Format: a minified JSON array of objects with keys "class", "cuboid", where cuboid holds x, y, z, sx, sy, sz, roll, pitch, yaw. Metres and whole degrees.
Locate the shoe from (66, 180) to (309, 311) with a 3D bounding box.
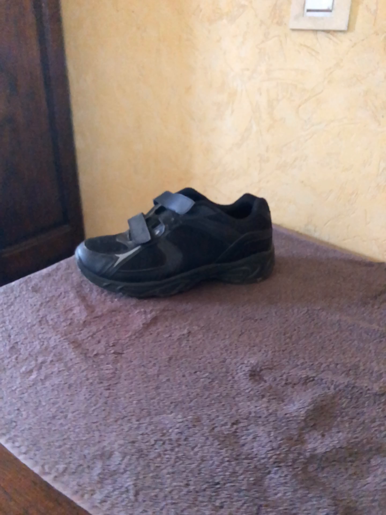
[{"class":"shoe","cuboid":[-0.010,-0.022,0.541,0.270,0.109,0.111,-4,28,-10]}]
